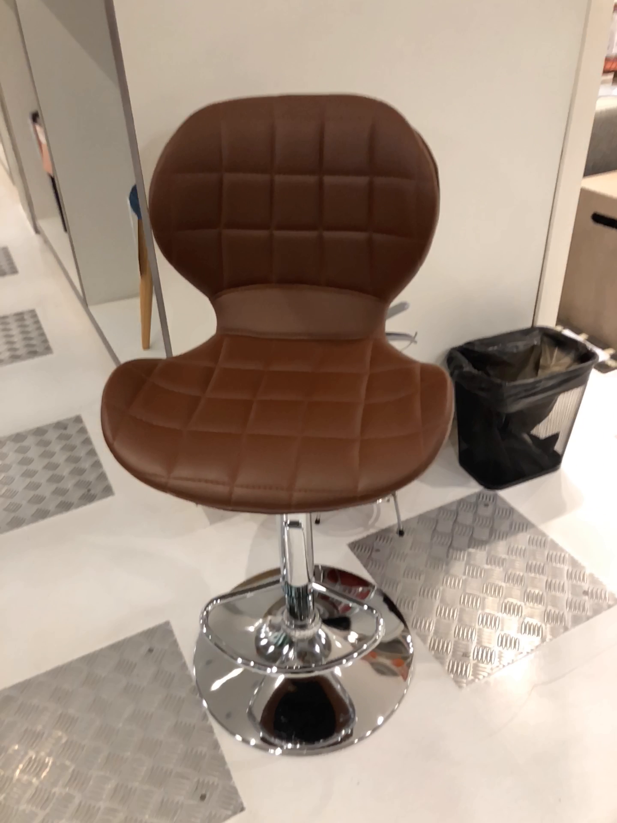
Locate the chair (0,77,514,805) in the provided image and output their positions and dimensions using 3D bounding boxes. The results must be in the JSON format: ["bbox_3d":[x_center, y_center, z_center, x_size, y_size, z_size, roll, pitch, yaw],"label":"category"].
[{"bbox_3d":[-0.038,0.047,1.016,0.540,0.923,0.493,5,34,12],"label":"chair"}]
